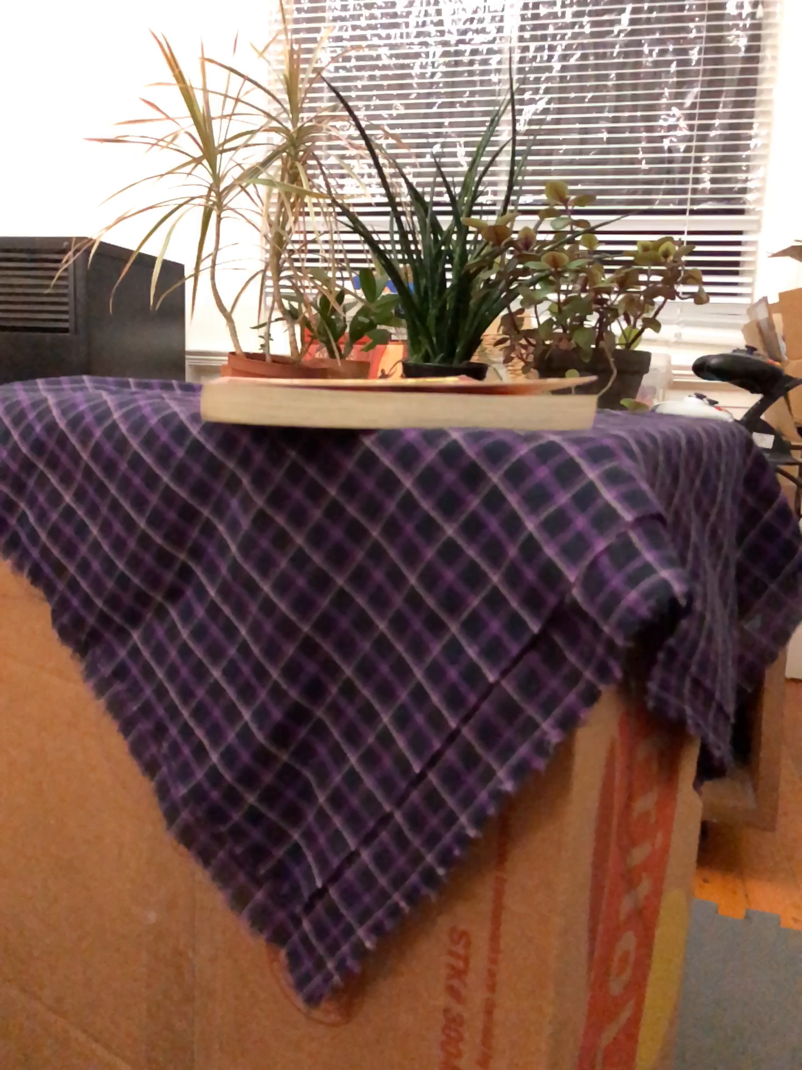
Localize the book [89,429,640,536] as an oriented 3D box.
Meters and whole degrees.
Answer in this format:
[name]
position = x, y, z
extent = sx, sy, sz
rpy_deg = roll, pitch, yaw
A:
[book]
position = -0.028, -0.030, 0.402
extent = 0.180, 0.020, 0.240
rpy_deg = 1, 9, -10
